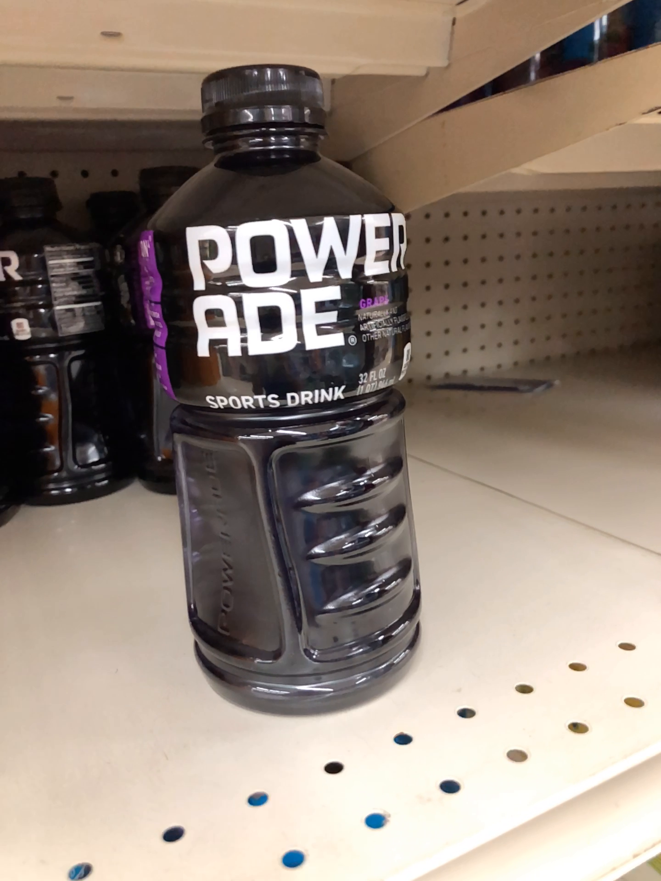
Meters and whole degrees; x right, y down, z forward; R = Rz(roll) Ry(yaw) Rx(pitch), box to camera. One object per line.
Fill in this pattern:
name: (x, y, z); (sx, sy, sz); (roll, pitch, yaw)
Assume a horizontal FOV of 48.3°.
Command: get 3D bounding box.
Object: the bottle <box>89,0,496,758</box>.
bottle: (-0.011, -0.022, 0.258); (0.098, 0.210, 0.090); (-3, 16, 1)
